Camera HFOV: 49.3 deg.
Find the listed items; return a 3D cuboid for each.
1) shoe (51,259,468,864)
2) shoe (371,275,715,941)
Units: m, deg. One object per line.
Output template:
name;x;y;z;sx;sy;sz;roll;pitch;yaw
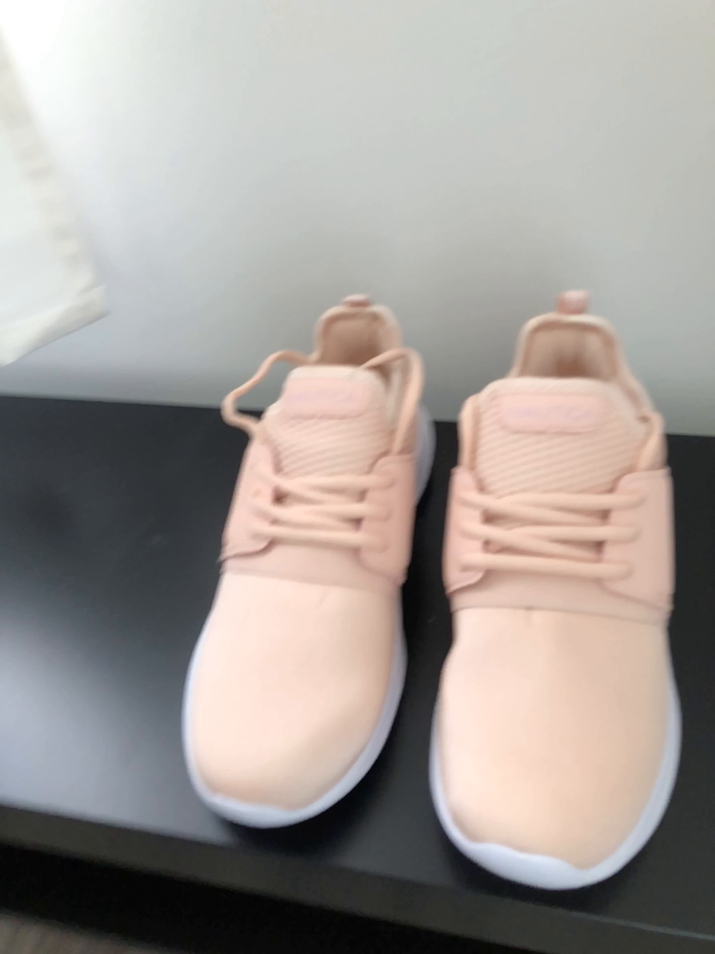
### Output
shoe;-0.014;0.015;0.352;0.100;0.110;0.251;4;45;12
shoe;0.082;0.029;0.318;0.100;0.110;0.241;4;45;12
